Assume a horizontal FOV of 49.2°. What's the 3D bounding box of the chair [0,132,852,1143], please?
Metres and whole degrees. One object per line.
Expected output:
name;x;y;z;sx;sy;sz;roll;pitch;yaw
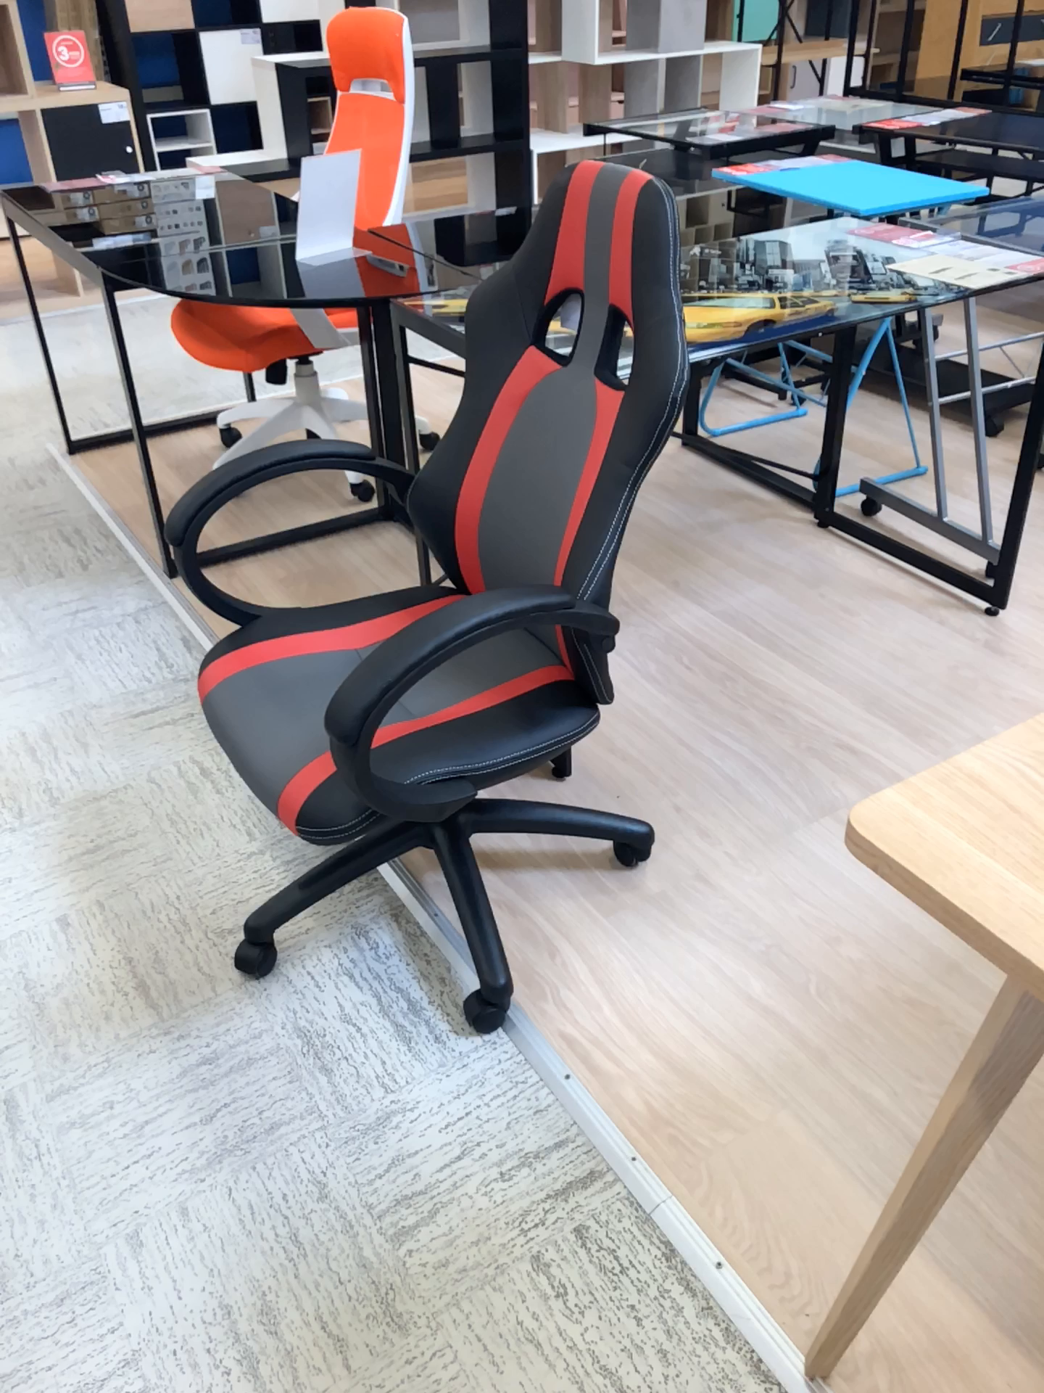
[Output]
chair;-0.139;-0.142;1.453;0.692;0.924;0.692;-19;36;-24
